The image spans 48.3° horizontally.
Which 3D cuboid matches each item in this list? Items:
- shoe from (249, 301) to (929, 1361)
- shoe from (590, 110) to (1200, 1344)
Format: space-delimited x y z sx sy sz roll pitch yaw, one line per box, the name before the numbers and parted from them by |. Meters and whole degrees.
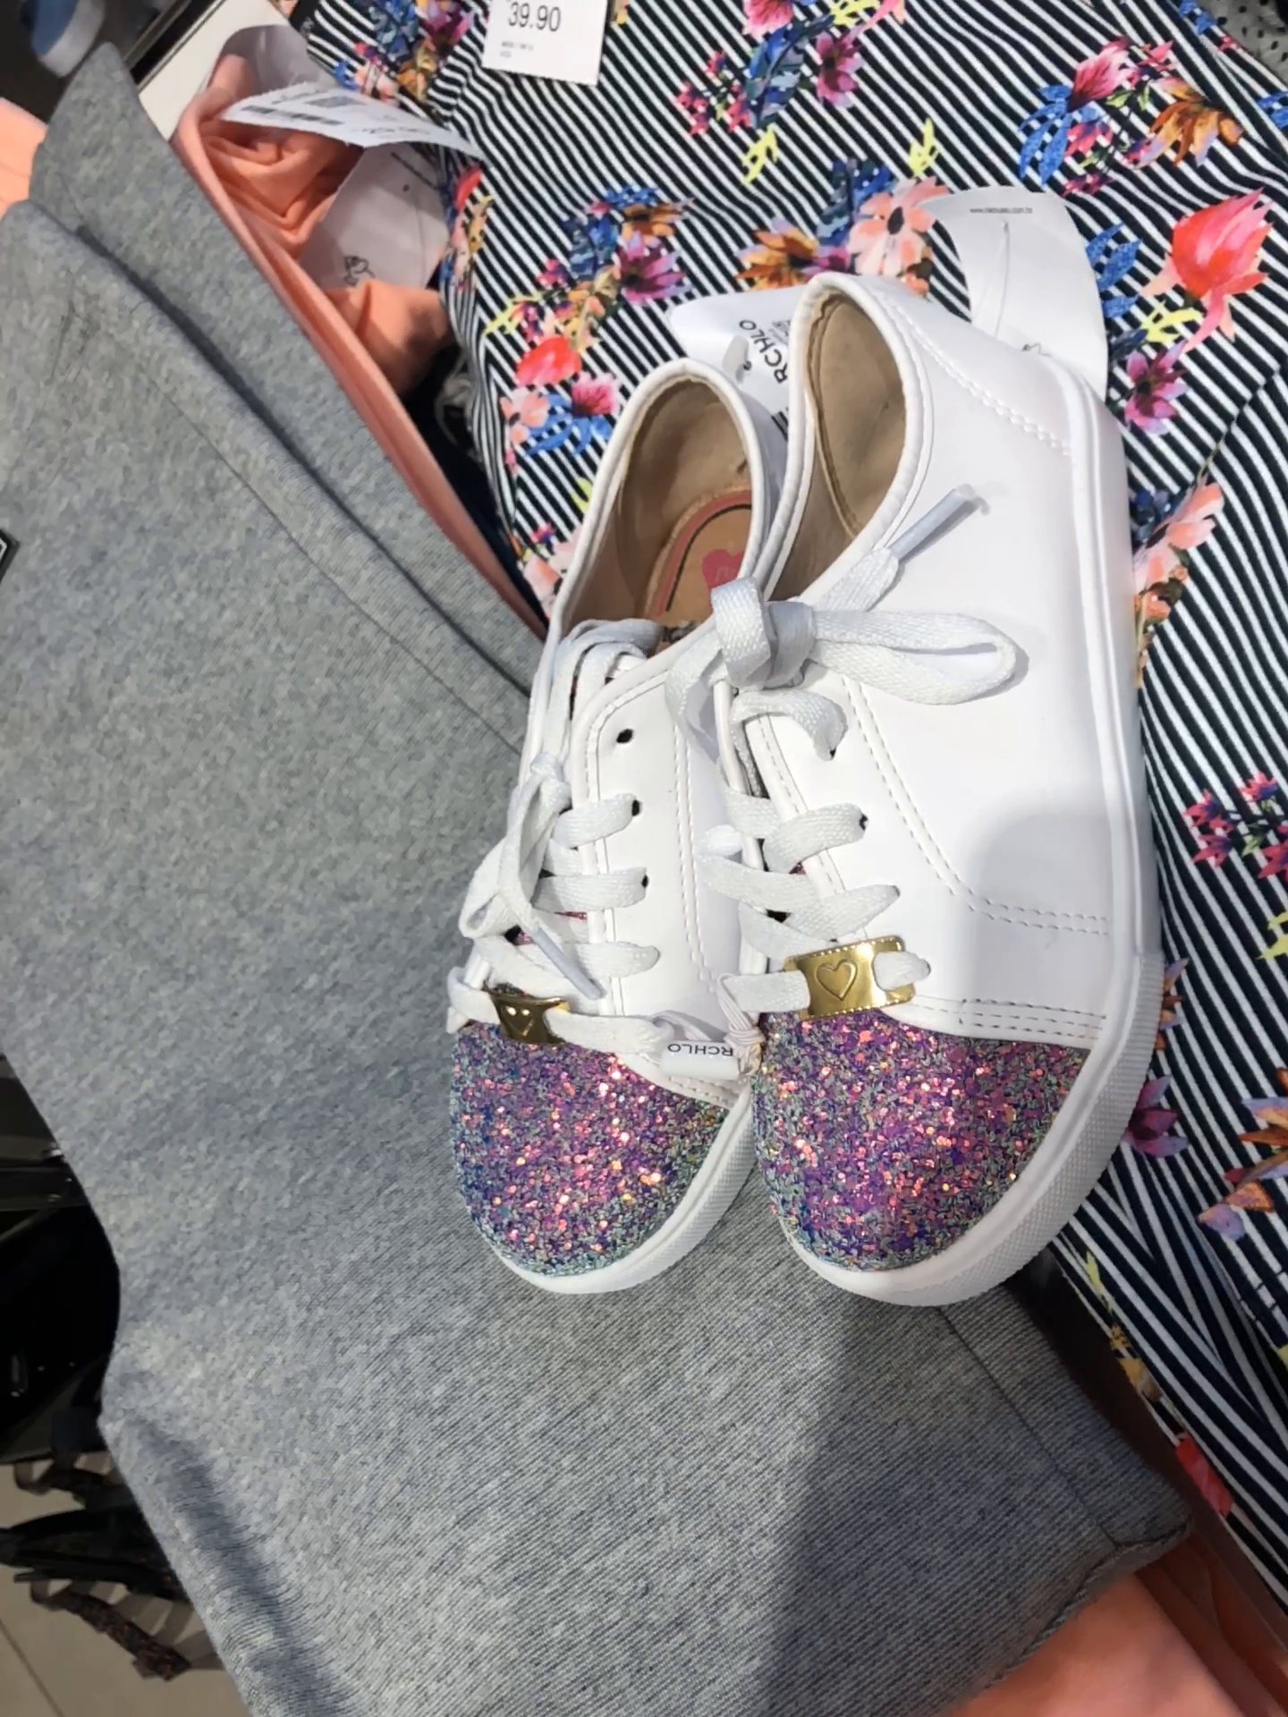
shoe | -0.007 -0.006 0.300 0.080 0.070 0.190 7 81 32
shoe | 0.053 -0.020 0.274 0.080 0.070 0.200 -4 75 38
